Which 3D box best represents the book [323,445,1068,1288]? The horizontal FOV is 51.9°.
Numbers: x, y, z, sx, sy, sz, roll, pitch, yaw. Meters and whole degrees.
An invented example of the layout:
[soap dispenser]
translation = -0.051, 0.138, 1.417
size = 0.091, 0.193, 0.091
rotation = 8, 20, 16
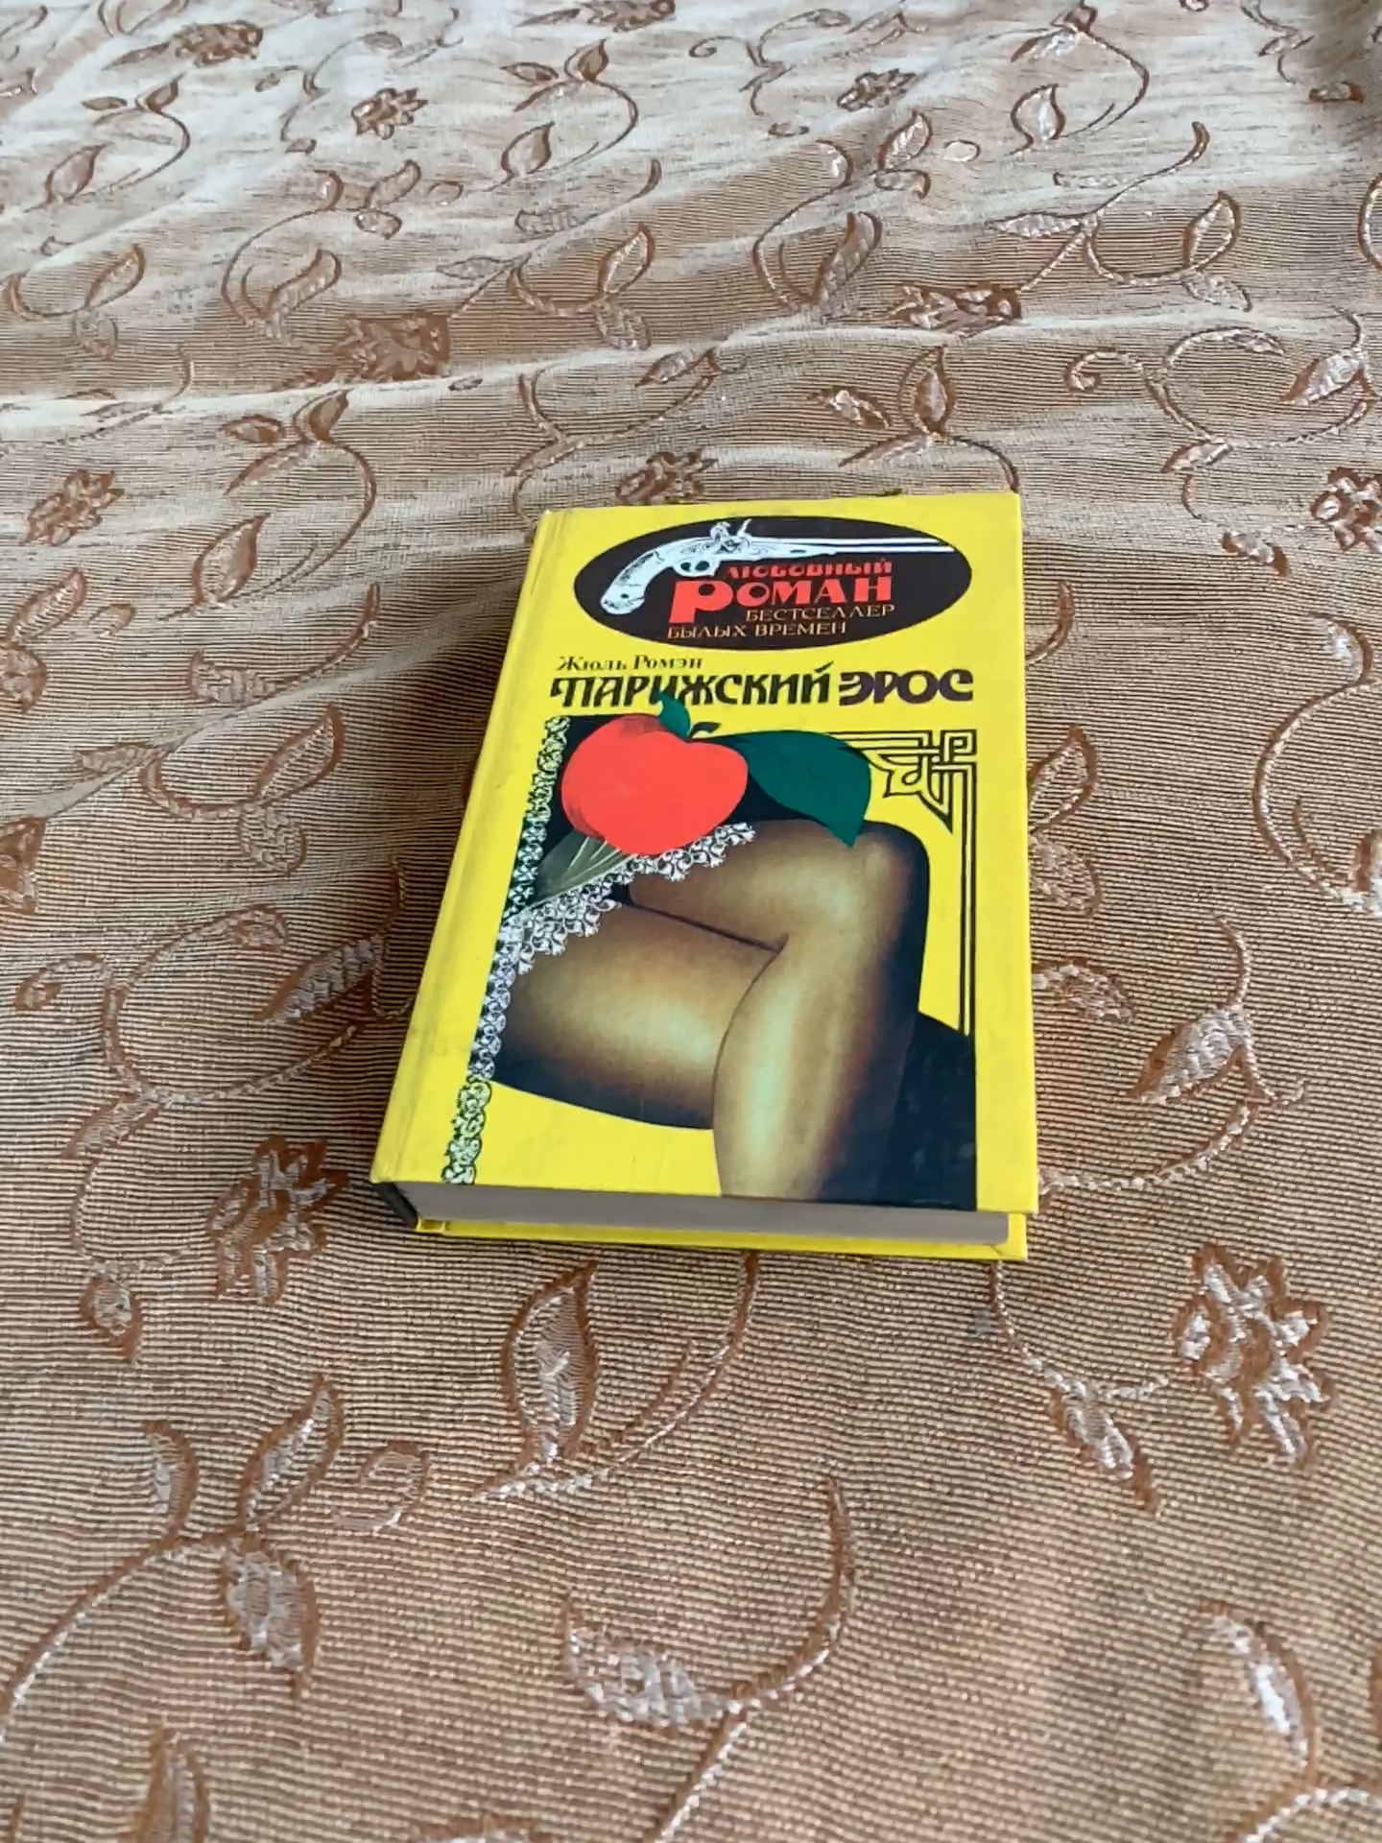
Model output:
[book]
translation = 0.011, -0.025, 0.316
size = 0.130, 0.040, 0.197
rotation = 1, 55, 9
